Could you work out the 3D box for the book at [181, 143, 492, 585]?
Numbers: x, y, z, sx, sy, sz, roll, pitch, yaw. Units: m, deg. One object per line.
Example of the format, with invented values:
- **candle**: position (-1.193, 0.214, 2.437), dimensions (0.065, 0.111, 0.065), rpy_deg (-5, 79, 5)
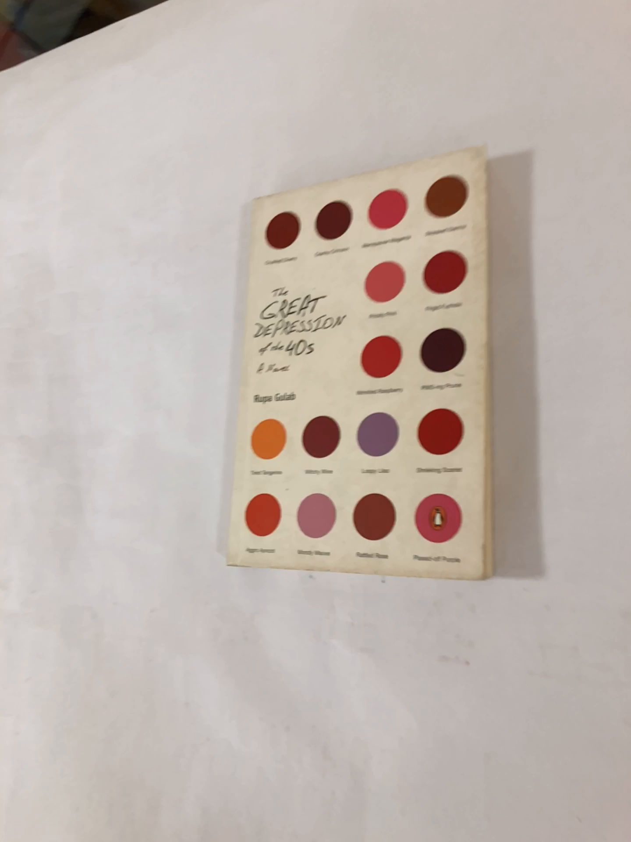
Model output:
- **book**: position (0.010, -0.023, 0.335), dimensions (0.141, 0.030, 0.190), rpy_deg (-4, 76, 27)
